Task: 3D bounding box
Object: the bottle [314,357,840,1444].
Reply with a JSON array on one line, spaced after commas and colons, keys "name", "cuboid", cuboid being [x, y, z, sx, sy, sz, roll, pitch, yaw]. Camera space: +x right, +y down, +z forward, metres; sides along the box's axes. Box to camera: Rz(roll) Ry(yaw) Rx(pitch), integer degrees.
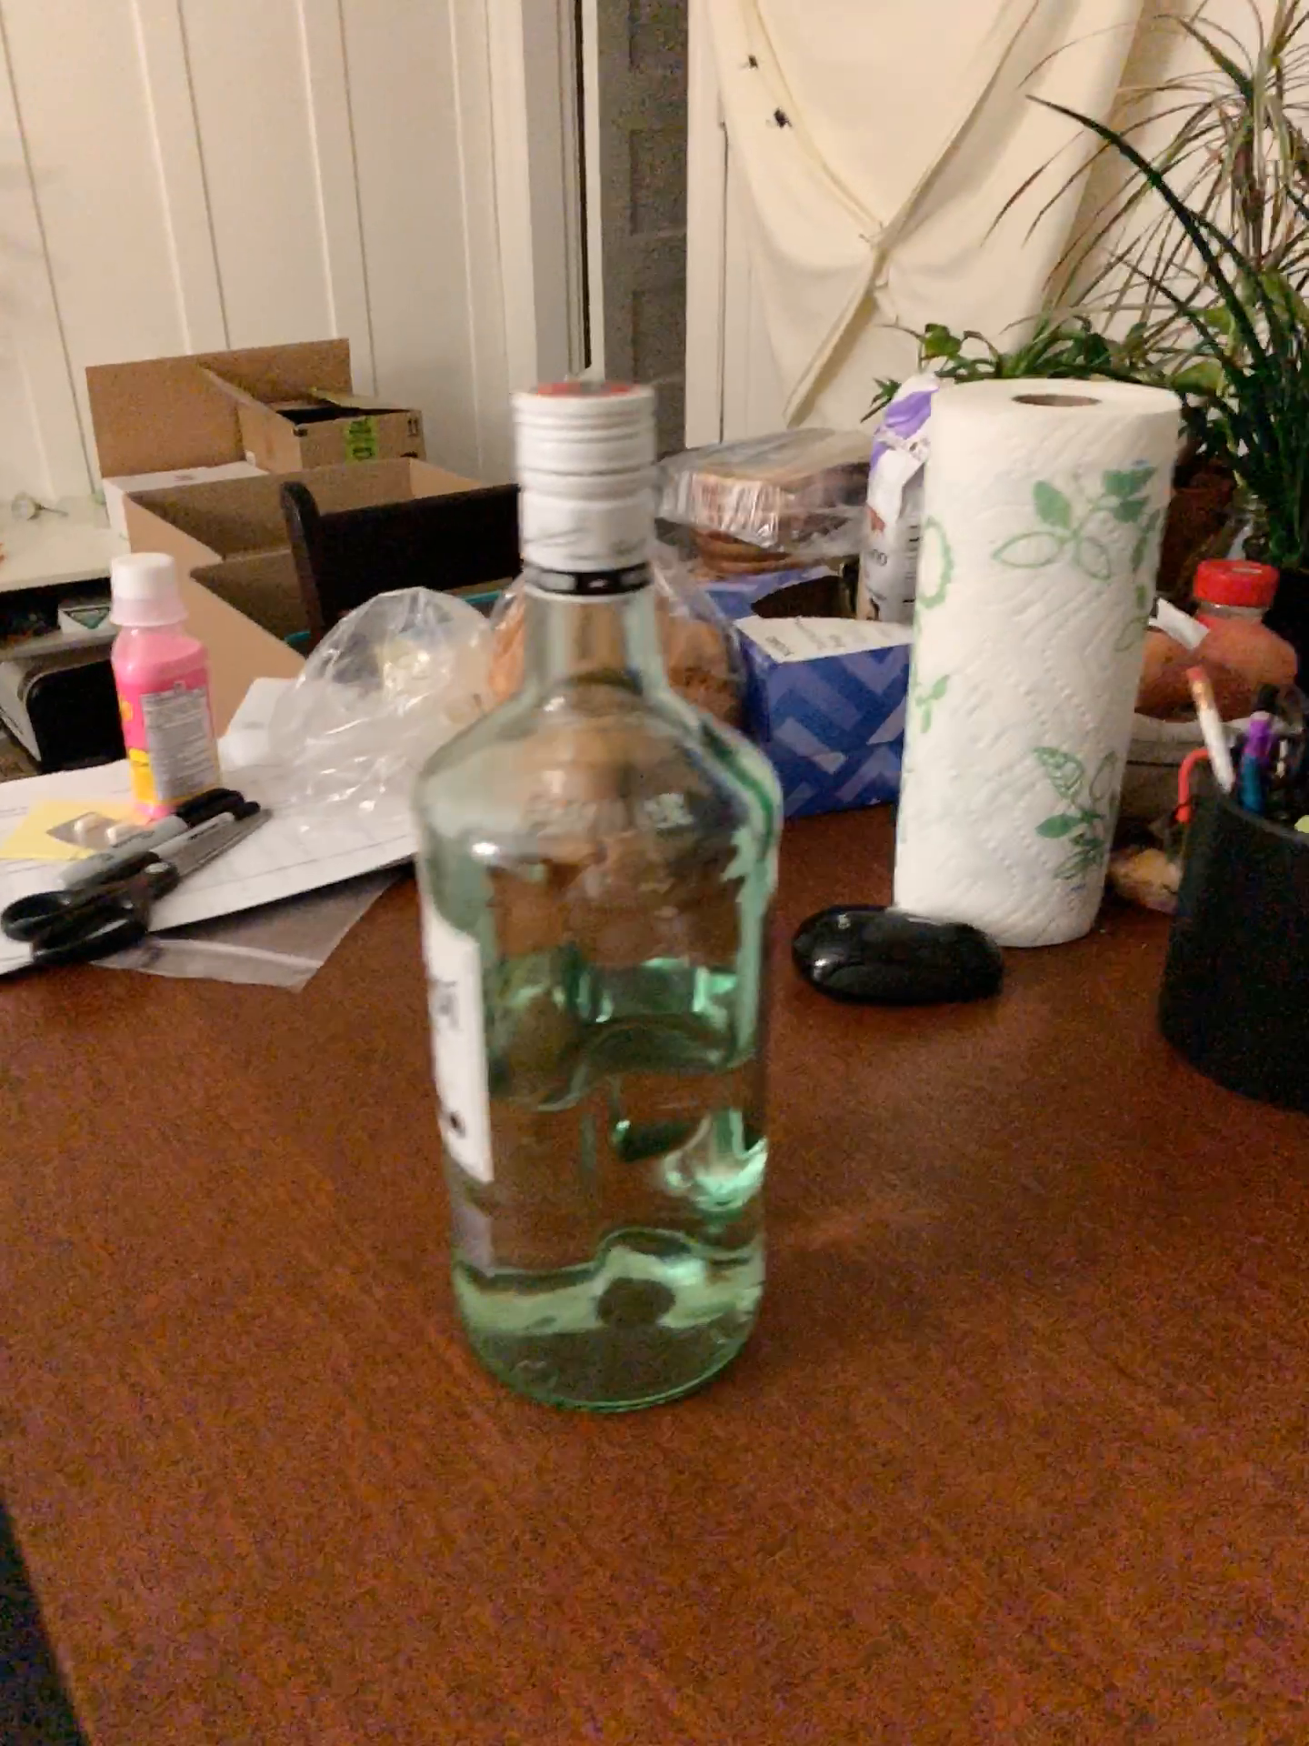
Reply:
[{"name": "bottle", "cuboid": [-0.021, 0.016, 0.434, 0.120, 0.328, 0.121, 0, 27, 0]}]
